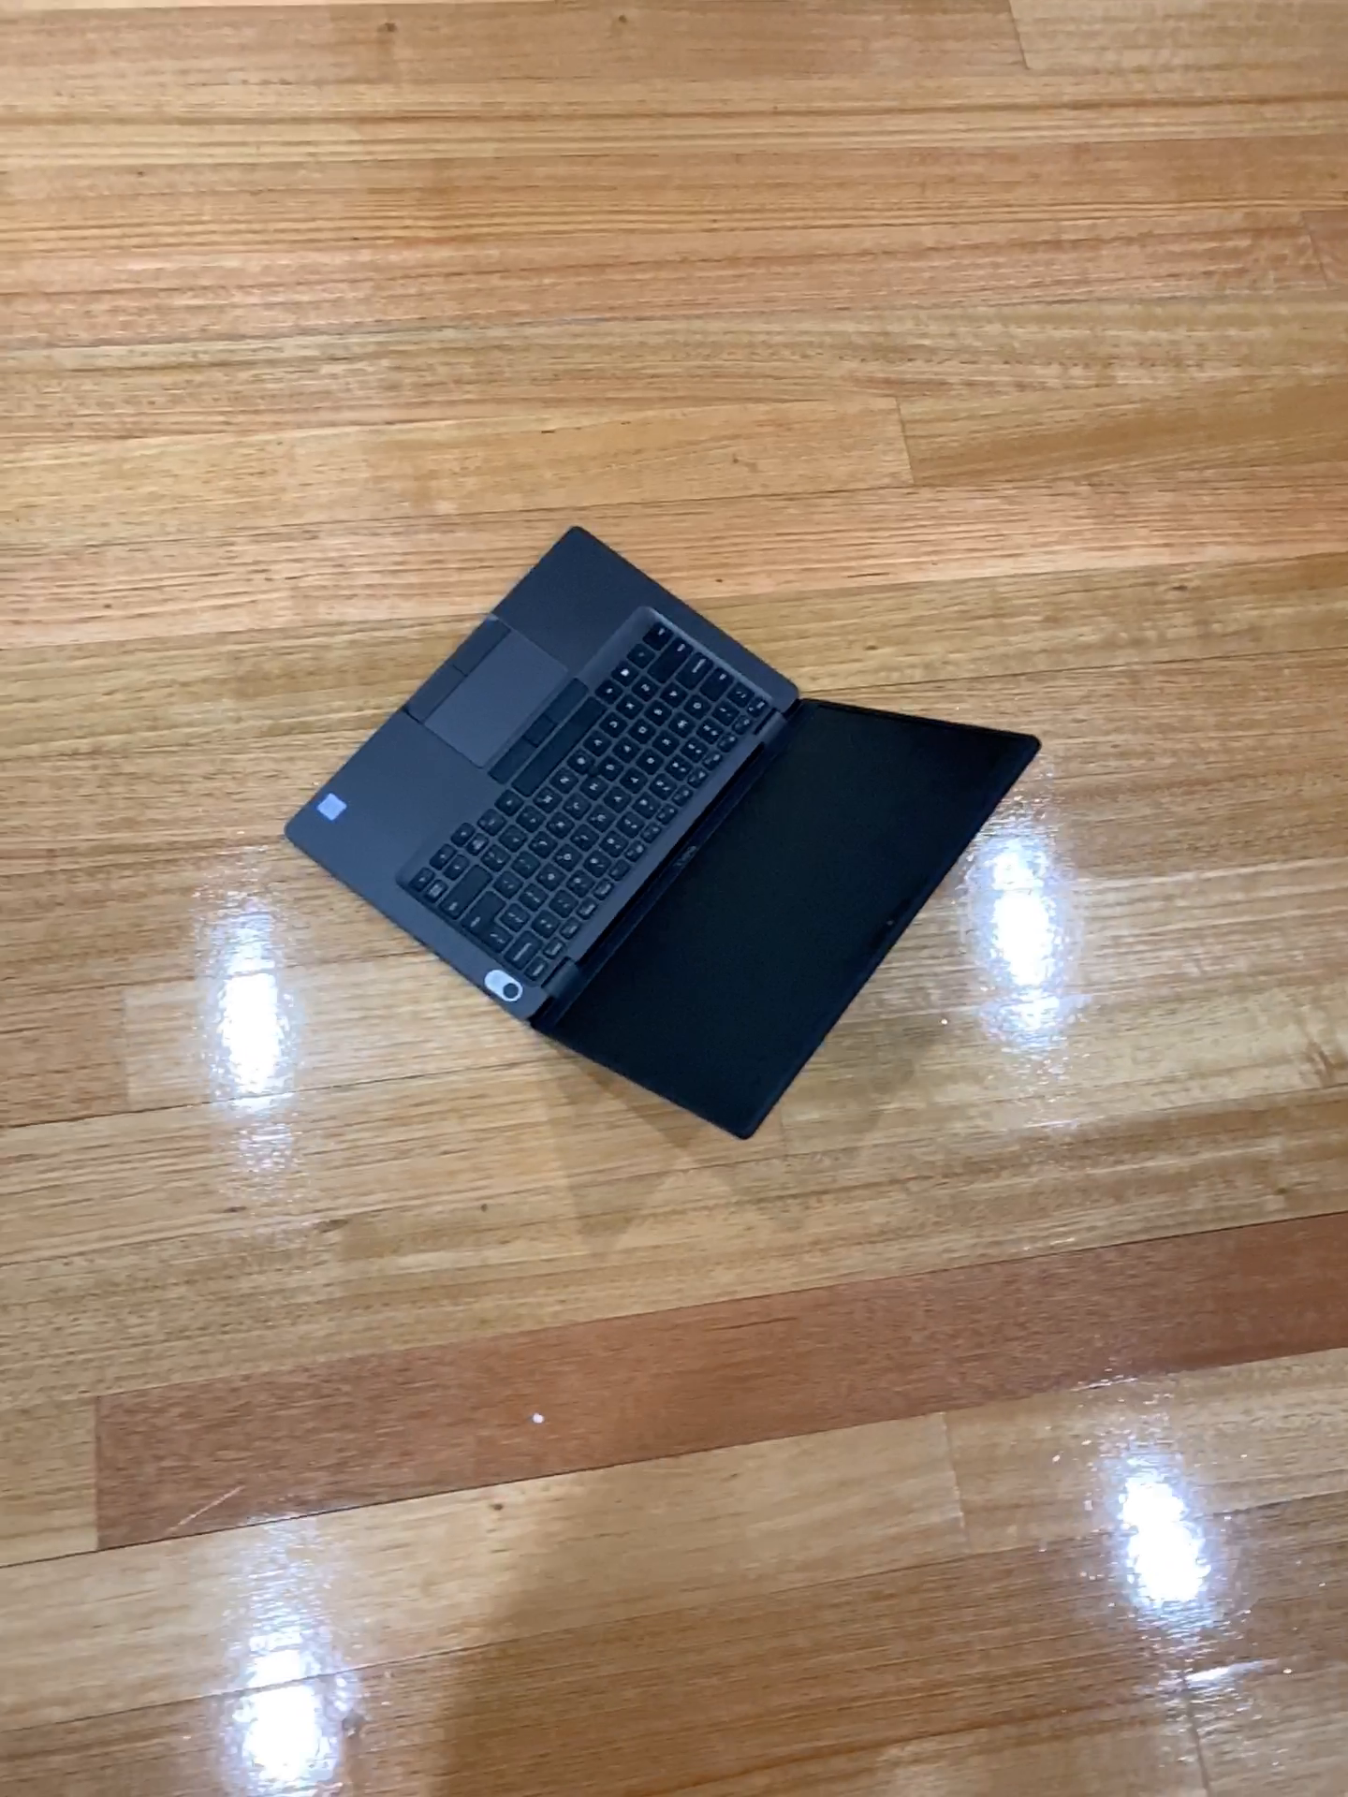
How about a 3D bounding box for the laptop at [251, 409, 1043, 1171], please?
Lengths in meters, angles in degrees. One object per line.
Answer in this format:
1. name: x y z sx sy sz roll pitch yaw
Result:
1. laptop: -0.015 -0.073 0.906 0.372 0.134 0.321 37 72 7
